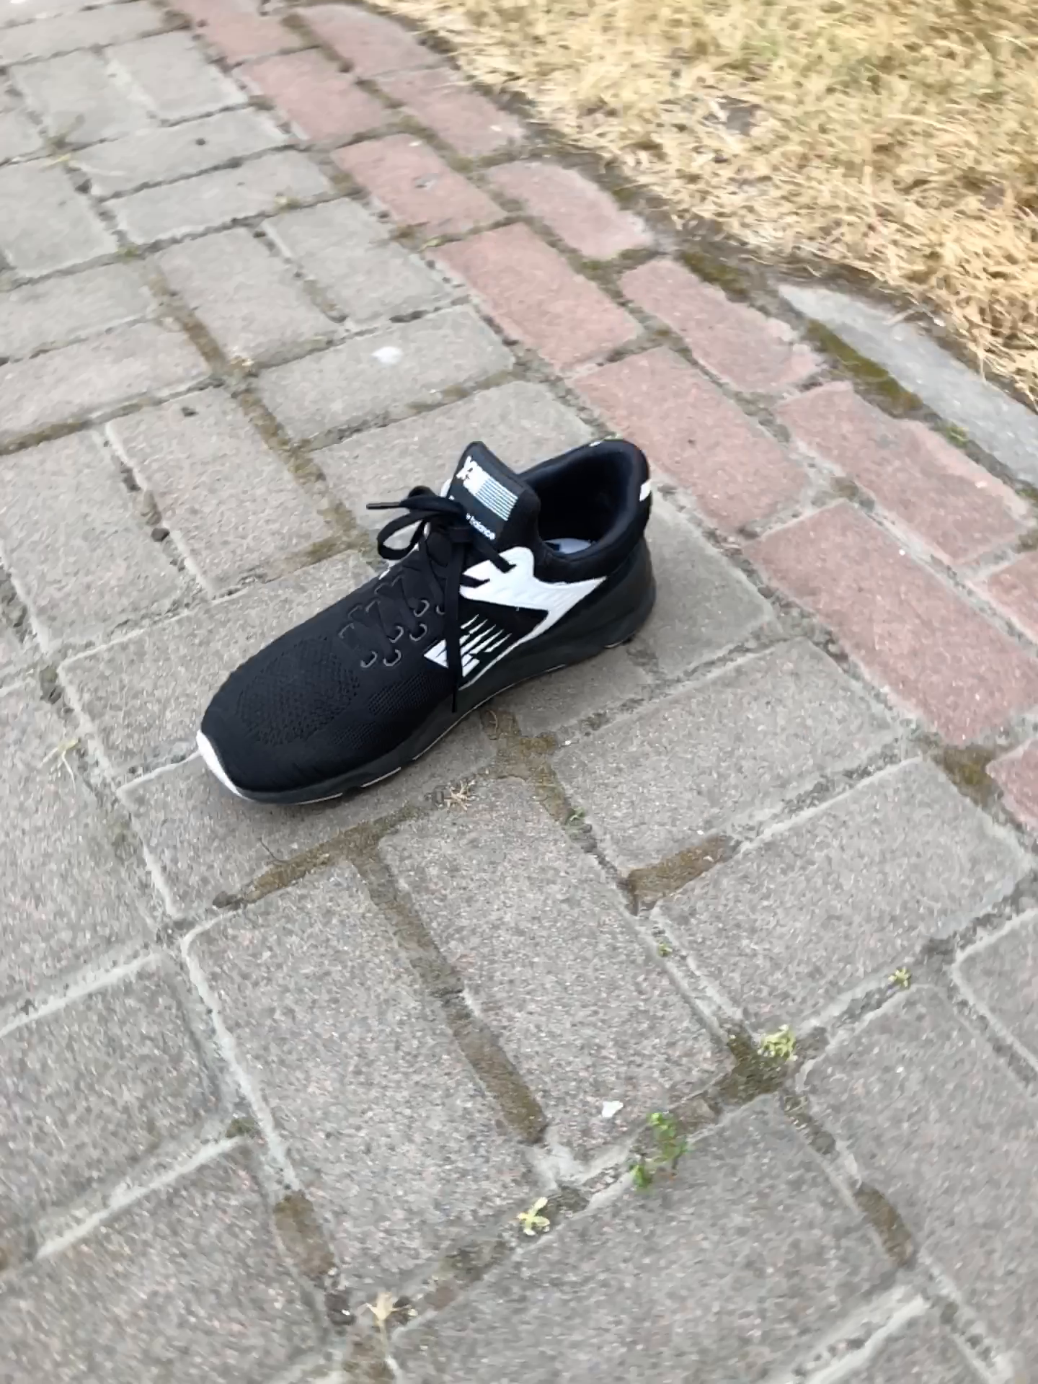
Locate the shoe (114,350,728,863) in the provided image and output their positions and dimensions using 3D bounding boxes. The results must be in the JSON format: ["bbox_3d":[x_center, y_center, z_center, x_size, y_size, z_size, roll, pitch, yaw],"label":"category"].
[{"bbox_3d":[-0.040,-0.051,0.590,0.281,0.129,0.100,-29,57,-22],"label":"shoe"}]
